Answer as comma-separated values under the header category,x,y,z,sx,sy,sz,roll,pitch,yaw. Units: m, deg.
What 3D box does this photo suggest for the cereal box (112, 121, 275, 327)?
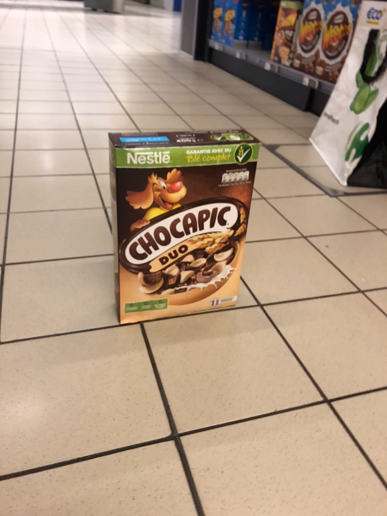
category,x,y,z,sx,sy,sz,roll,pitch,yaw
cereal box,-0.009,-0.045,0.612,0.200,0.278,0.060,-6,31,-19
